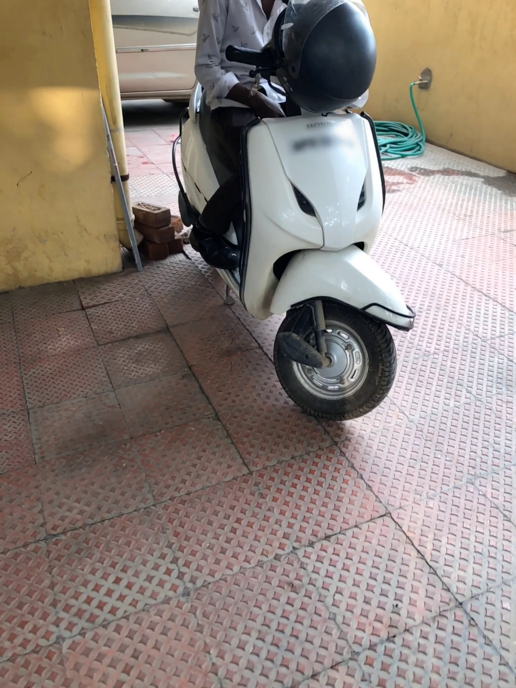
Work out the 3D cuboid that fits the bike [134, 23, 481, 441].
[{"bbox_3d":[0.041,-0.579,2.301,0.658,1.107,1.394,-12,37,-20],"label":"bike"}]
